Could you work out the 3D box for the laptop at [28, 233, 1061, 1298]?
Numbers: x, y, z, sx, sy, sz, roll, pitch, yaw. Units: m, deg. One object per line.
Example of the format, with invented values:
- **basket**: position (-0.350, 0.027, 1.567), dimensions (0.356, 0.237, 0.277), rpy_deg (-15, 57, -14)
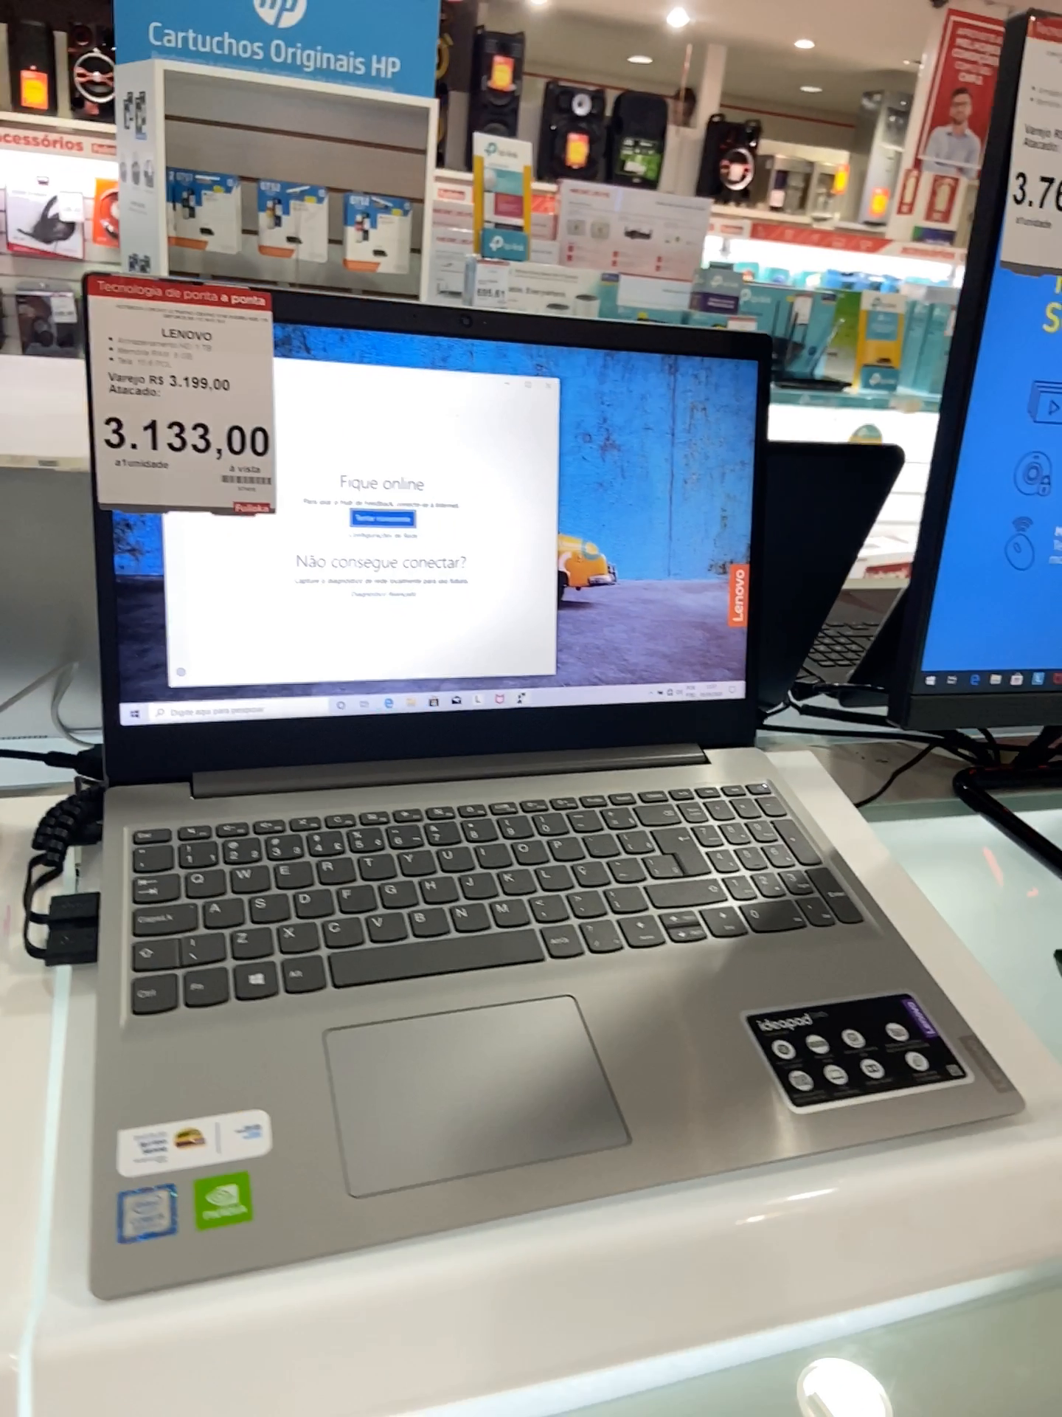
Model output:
- **laptop**: position (-0.004, -0.032, 0.490), dimensions (0.363, 0.224, 0.361), rpy_deg (-2, 32, -19)
